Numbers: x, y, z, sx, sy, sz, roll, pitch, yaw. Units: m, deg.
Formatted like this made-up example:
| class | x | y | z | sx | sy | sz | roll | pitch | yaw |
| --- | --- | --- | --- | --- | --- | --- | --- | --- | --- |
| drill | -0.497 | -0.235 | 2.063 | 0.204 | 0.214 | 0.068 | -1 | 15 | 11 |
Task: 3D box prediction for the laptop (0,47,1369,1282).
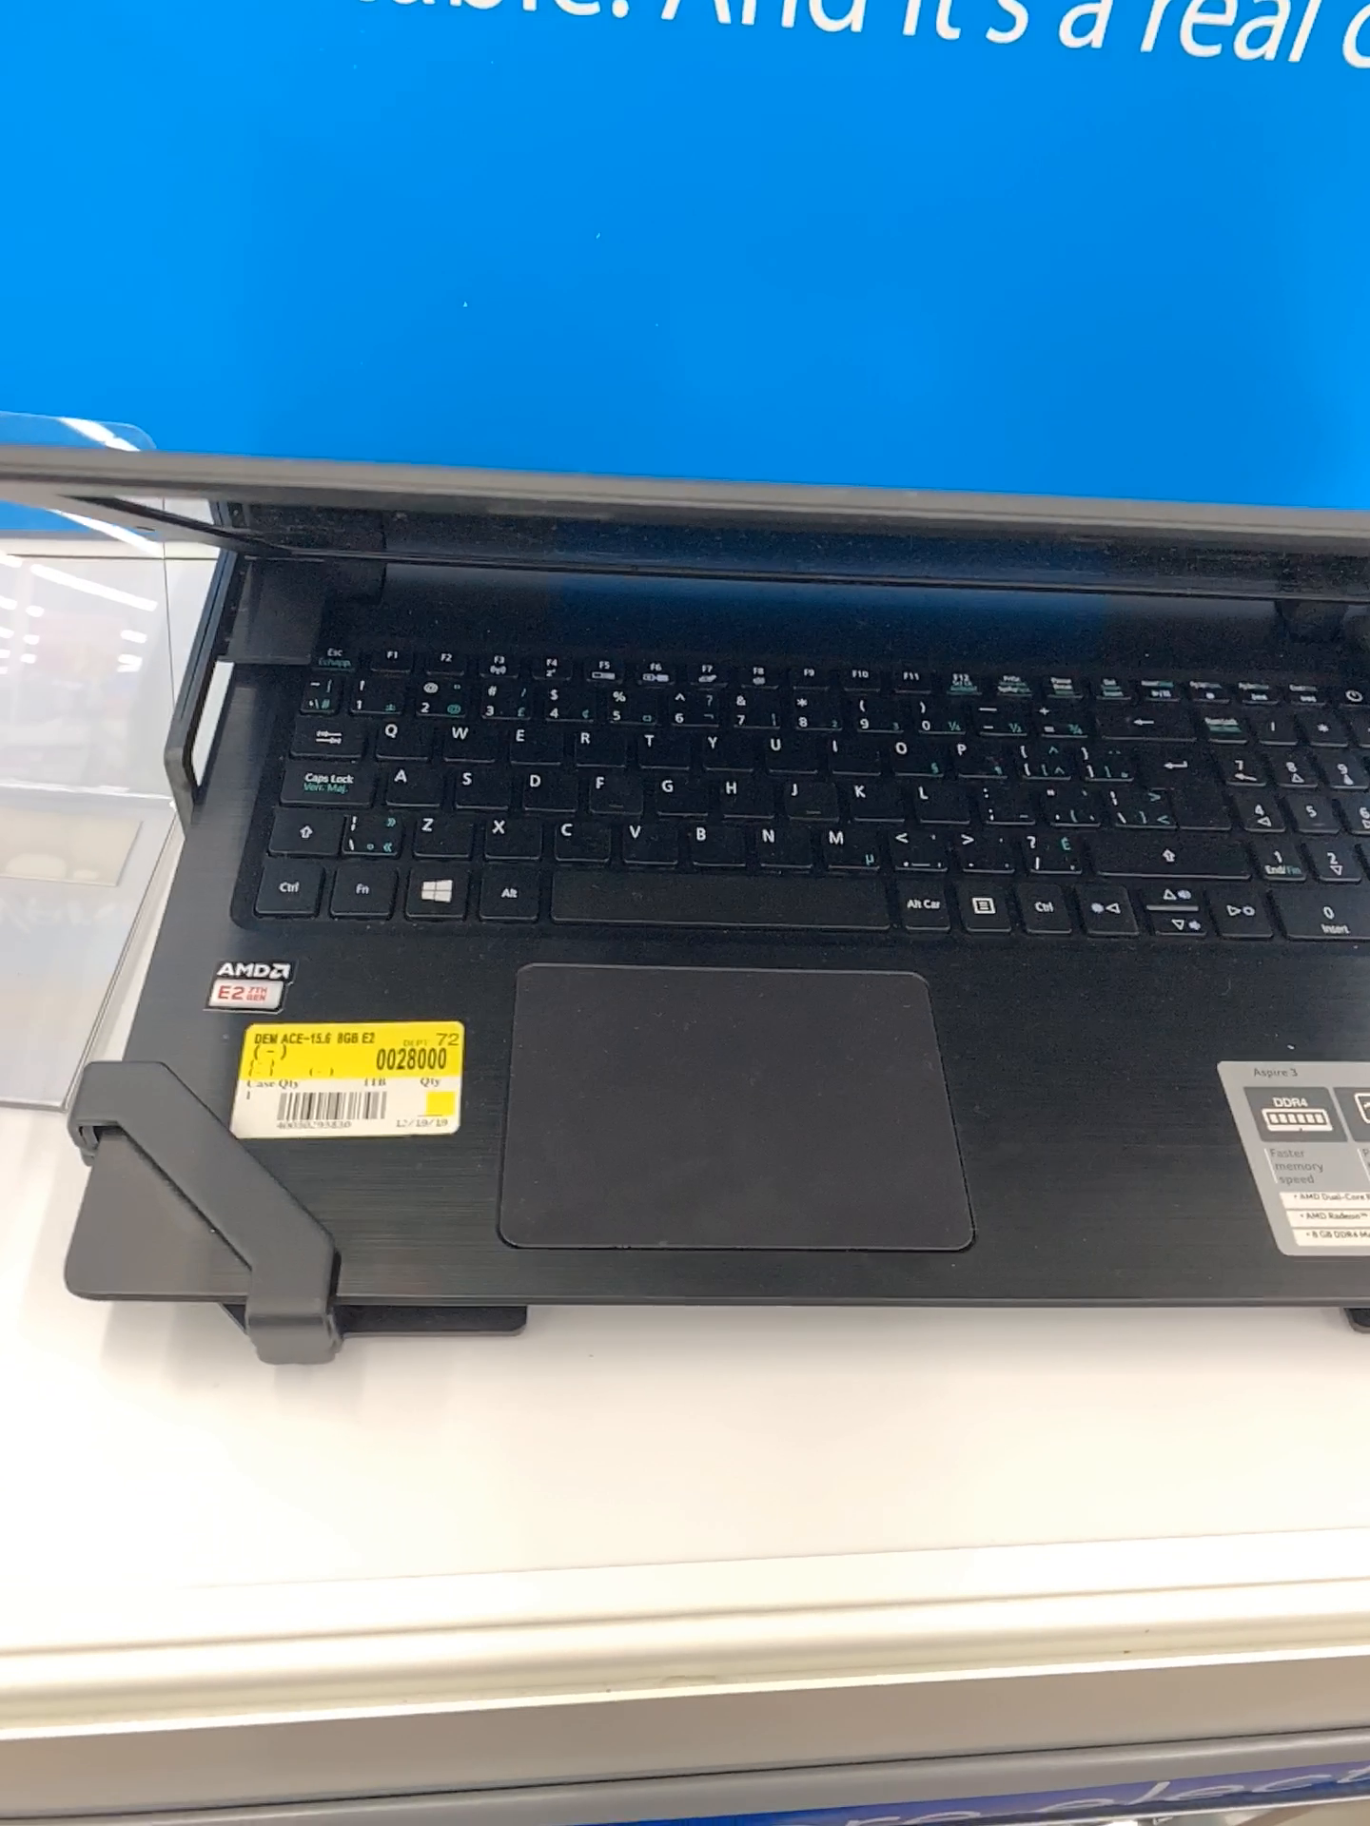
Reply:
| class | x | y | z | sx | sy | sz | roll | pitch | yaw |
| --- | --- | --- | --- | --- | --- | --- | --- | --- | --- |
| laptop | 0.060 | -0.055 | 0.320 | 0.364 | 0.137 | 0.222 | 2 | 52 | -5 |
